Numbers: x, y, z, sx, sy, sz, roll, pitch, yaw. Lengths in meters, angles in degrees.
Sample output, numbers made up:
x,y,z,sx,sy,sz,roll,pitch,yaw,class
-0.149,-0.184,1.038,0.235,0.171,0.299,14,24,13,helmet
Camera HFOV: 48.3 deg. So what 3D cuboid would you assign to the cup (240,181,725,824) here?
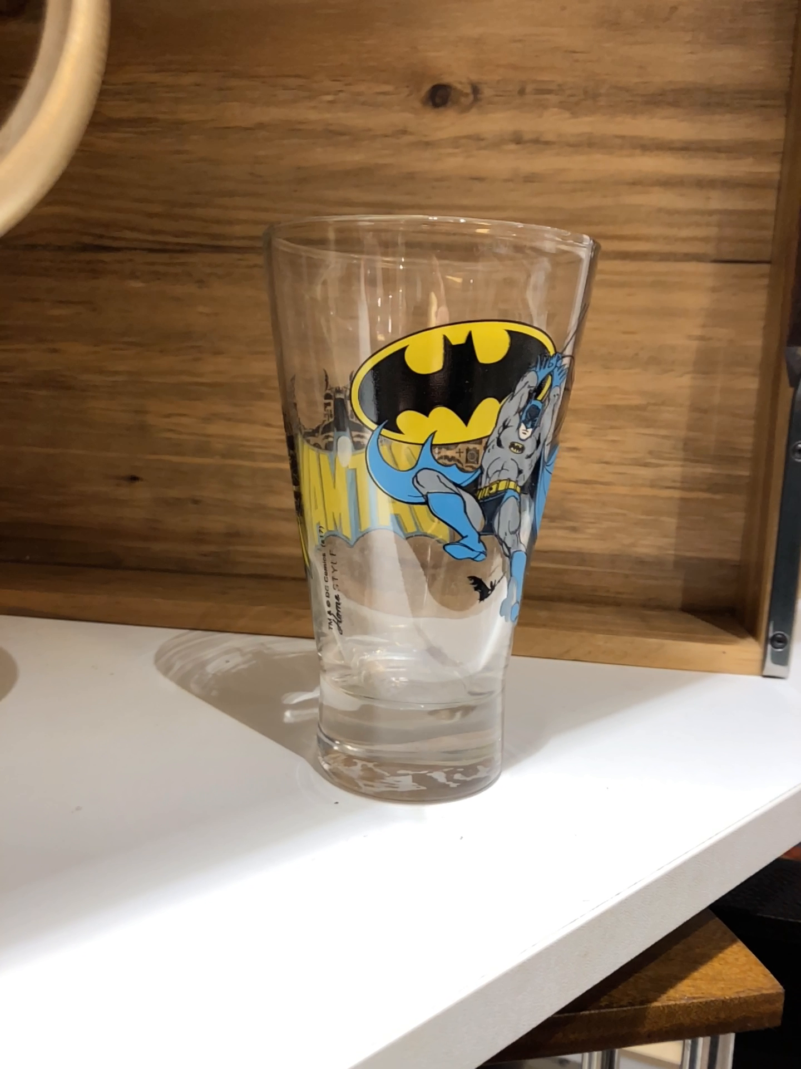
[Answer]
x,y,z,sx,sy,sz,roll,pitch,yaw,class
0.016,-0.013,0.235,0.090,0.130,0.080,-4,13,-32,cup
